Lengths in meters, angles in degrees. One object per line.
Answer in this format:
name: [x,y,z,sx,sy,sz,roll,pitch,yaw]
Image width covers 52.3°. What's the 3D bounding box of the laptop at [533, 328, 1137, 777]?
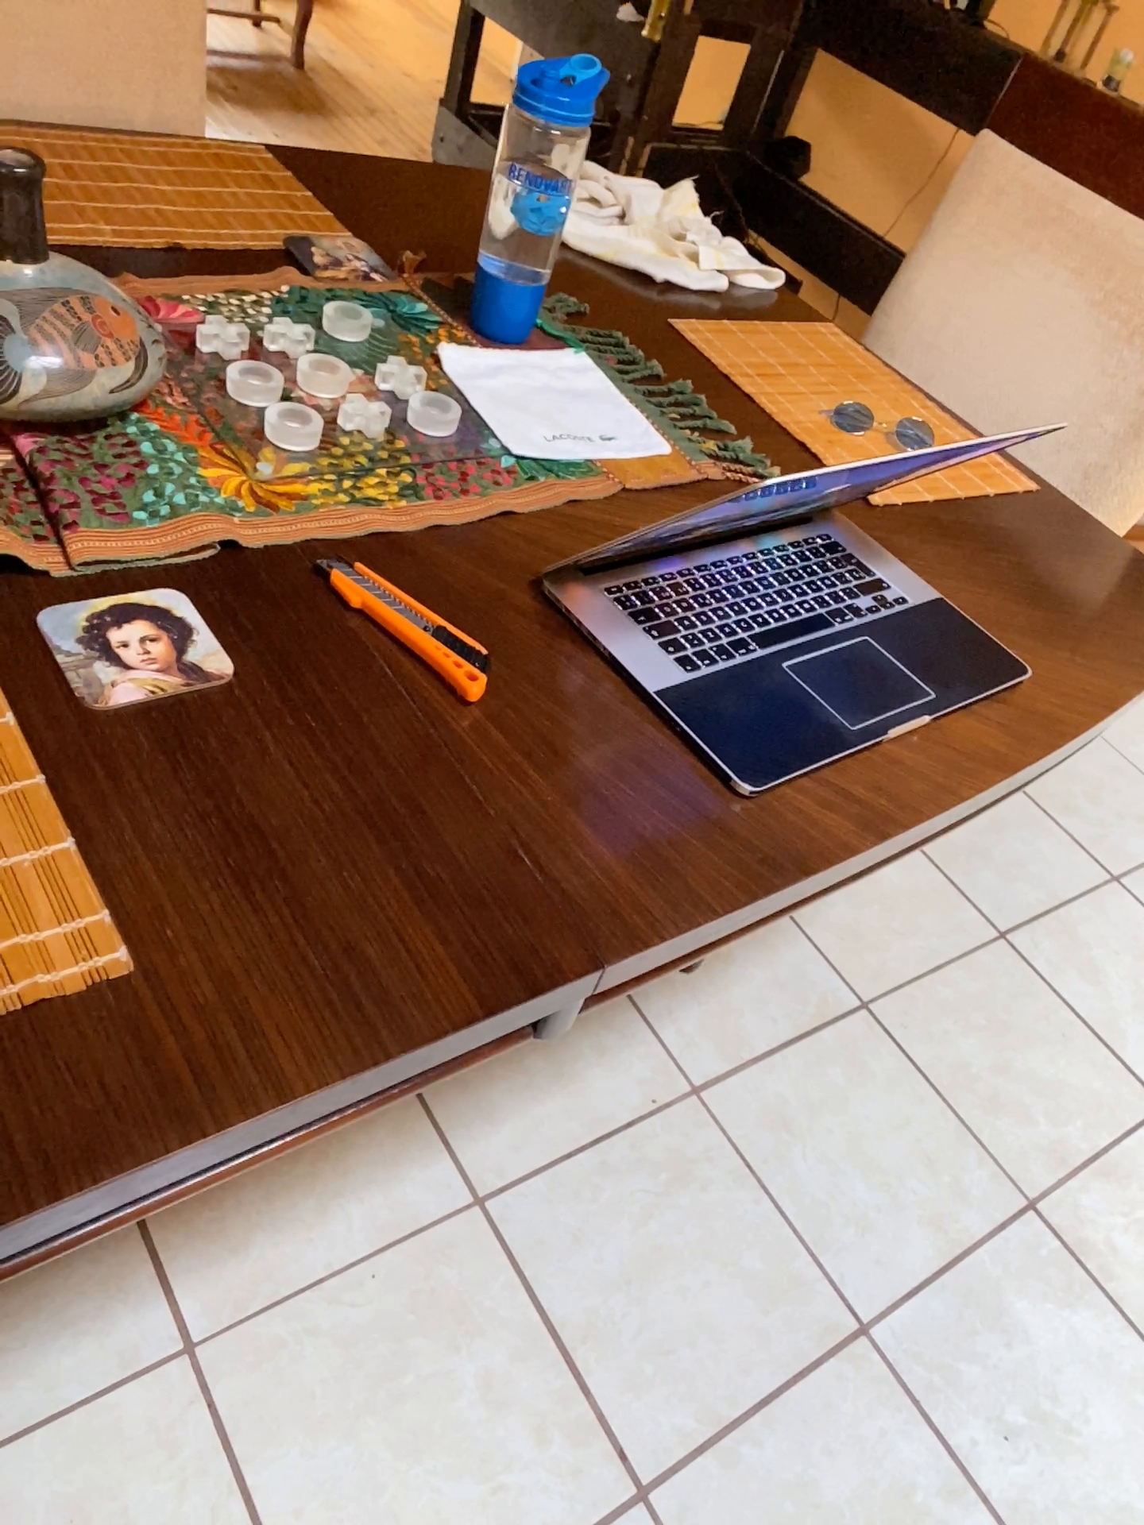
laptop: [0.198,-0.179,0.885,0.356,0.181,0.236,-19,55,-37]
